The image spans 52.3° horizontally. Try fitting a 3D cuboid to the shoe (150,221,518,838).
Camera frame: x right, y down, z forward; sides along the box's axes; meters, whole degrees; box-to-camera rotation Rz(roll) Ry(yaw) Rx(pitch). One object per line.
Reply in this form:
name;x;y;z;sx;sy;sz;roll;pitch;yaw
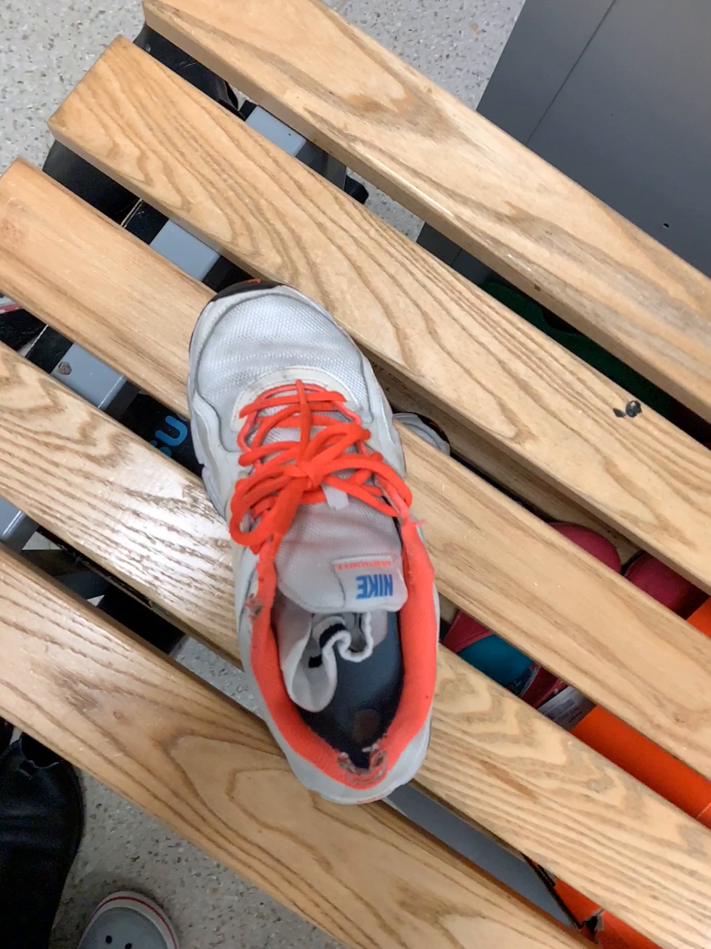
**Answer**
shoe;-0.014;0.020;0.343;0.110;0.079;0.241;-11;85;-7
